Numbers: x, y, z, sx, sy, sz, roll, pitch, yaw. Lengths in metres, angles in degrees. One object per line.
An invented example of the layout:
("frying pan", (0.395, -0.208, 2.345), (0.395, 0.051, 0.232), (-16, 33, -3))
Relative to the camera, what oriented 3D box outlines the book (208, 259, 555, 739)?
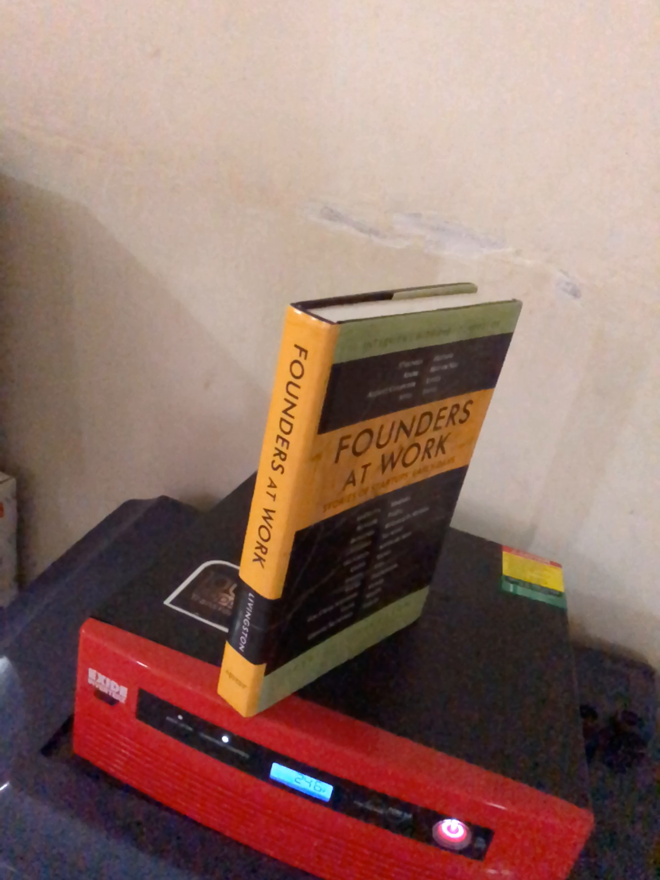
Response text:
("book", (0.028, 0.029, 0.422), (0.181, 0.249, 0.040), (-17, 38, -42))
